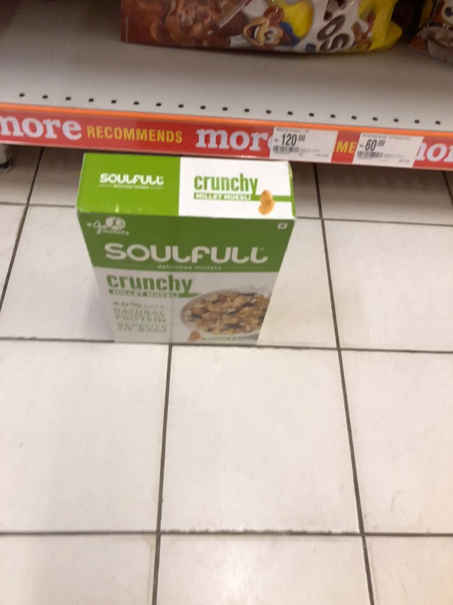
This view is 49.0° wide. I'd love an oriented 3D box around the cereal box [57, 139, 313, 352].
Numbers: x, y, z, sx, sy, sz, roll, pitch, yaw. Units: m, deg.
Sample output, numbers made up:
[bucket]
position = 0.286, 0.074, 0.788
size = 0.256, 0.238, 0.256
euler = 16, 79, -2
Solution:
[cereal box]
position = -0.037, -0.034, 0.470
size = 0.180, 0.239, 0.060
euler = 2, 59, -4
